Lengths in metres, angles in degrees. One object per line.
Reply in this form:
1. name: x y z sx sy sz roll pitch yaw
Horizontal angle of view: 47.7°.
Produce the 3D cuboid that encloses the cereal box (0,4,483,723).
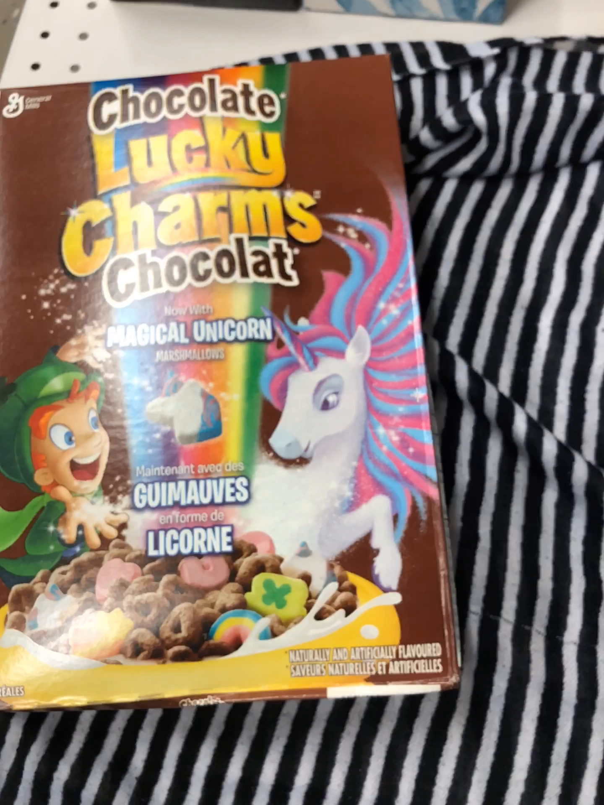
1. cereal box: -0.048 -0.025 0.307 0.210 0.060 0.290 -4 76 3
